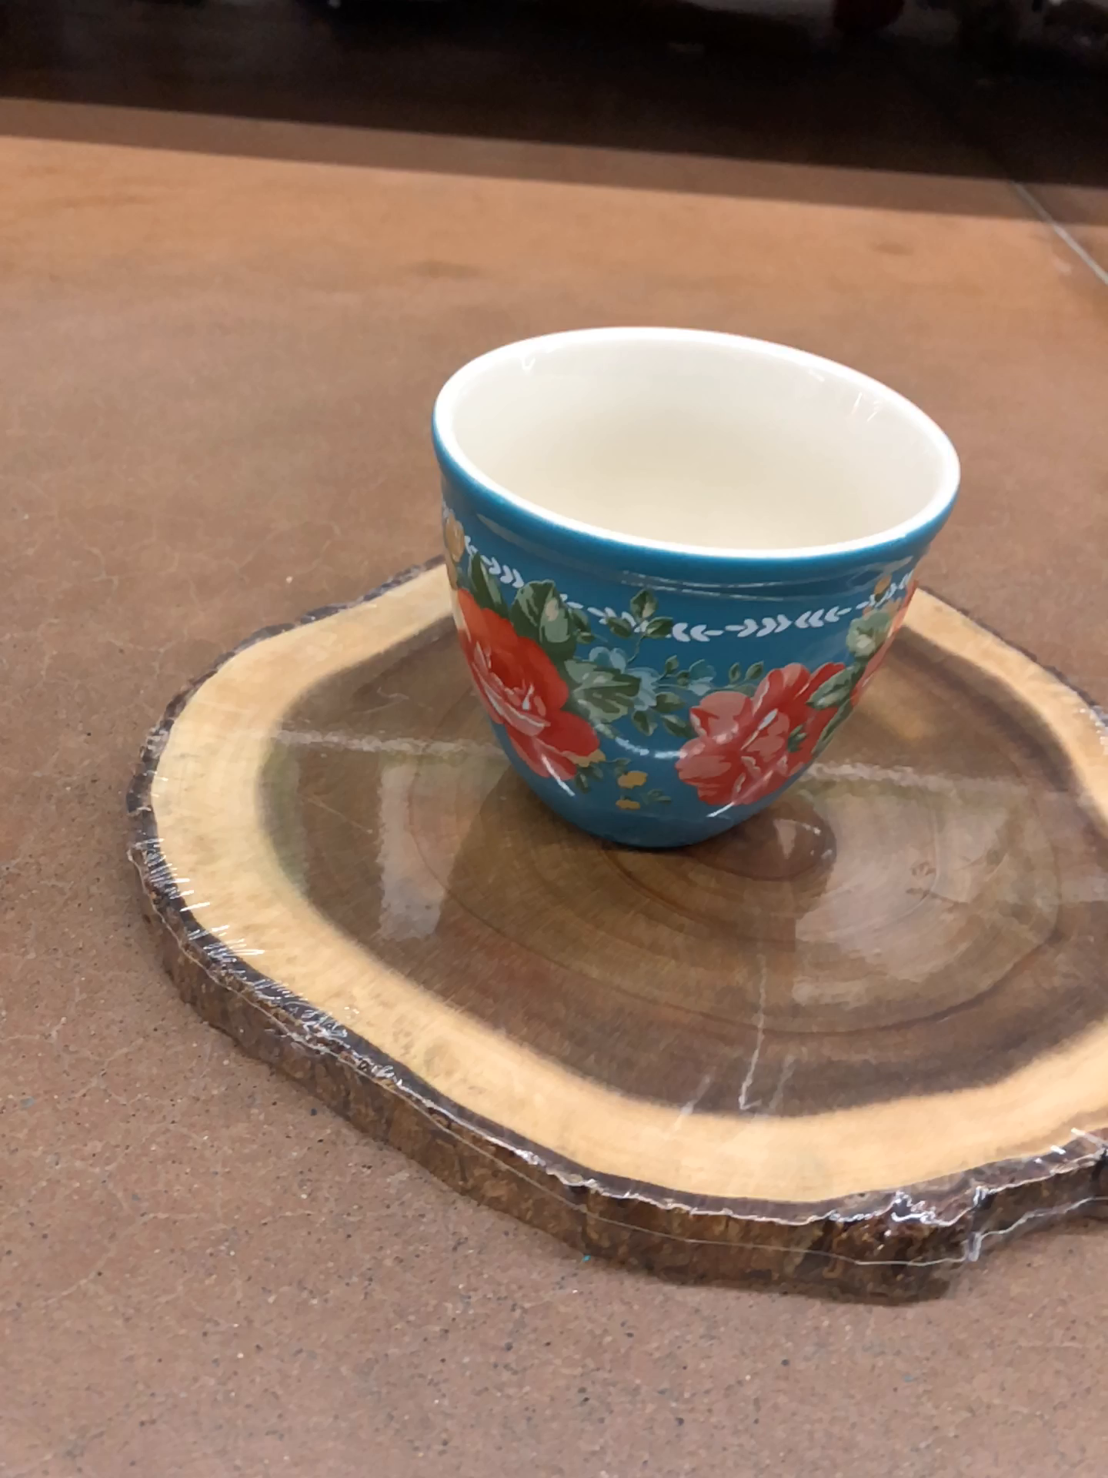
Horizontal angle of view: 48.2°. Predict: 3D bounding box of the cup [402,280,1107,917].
[{"bbox_3d":[0.045,-0.040,0.274,0.130,0.080,0.100,-13,42,-22],"label":"cup"}]
